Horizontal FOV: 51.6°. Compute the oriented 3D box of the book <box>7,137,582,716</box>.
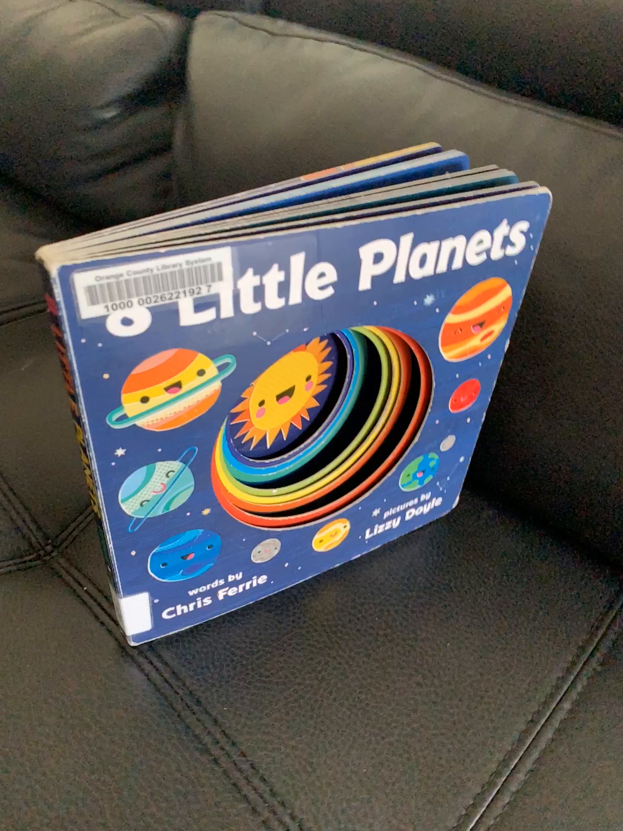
[{"bbox_3d":[-0.001,0.000,0.306,0.208,0.211,0.079,-21,44,-29],"label":"book"}]
